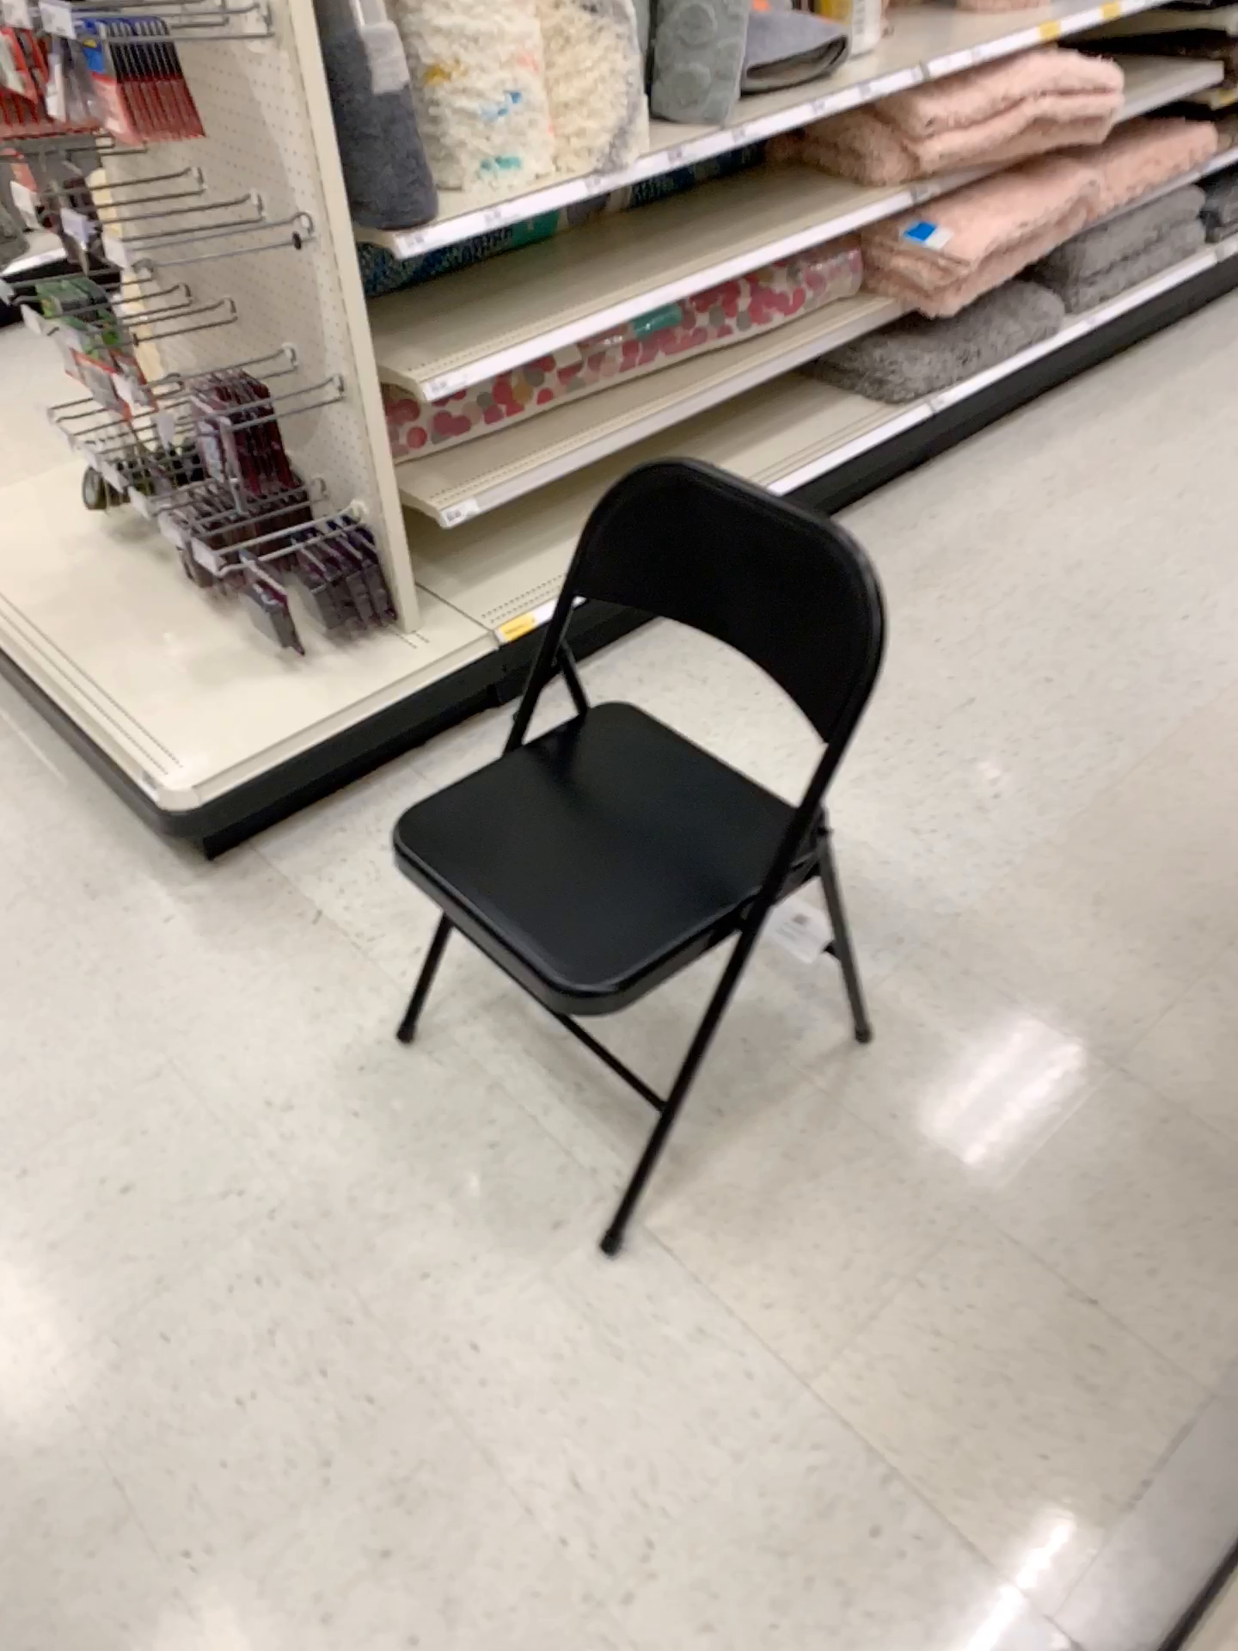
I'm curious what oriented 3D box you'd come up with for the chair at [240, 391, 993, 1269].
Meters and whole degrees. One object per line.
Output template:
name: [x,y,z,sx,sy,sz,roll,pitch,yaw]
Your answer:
chair: [0.013,-0.005,1.459,0.551,0.716,0.492,-33,50,-28]
